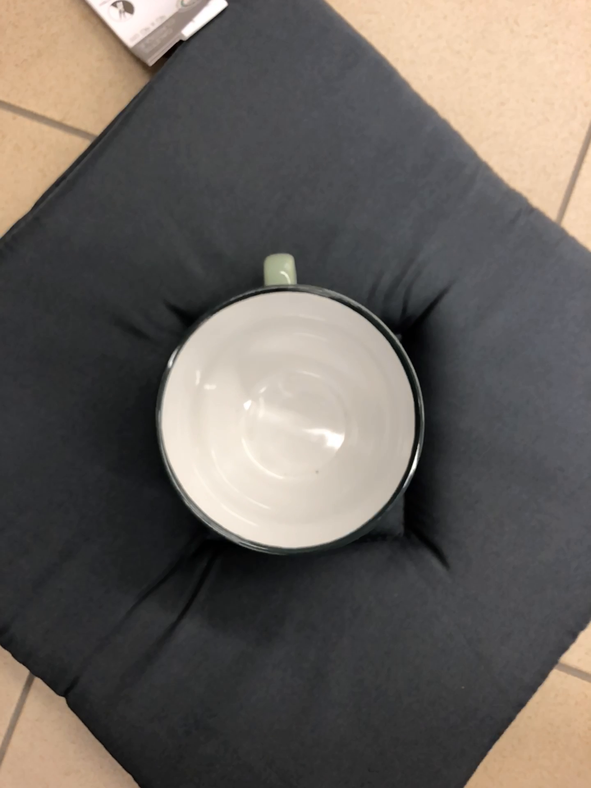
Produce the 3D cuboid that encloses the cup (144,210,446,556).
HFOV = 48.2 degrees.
[{"bbox_3d":[0.000,-0.003,0.314,0.120,0.070,0.140,-3,86,1],"label":"cup"}]
